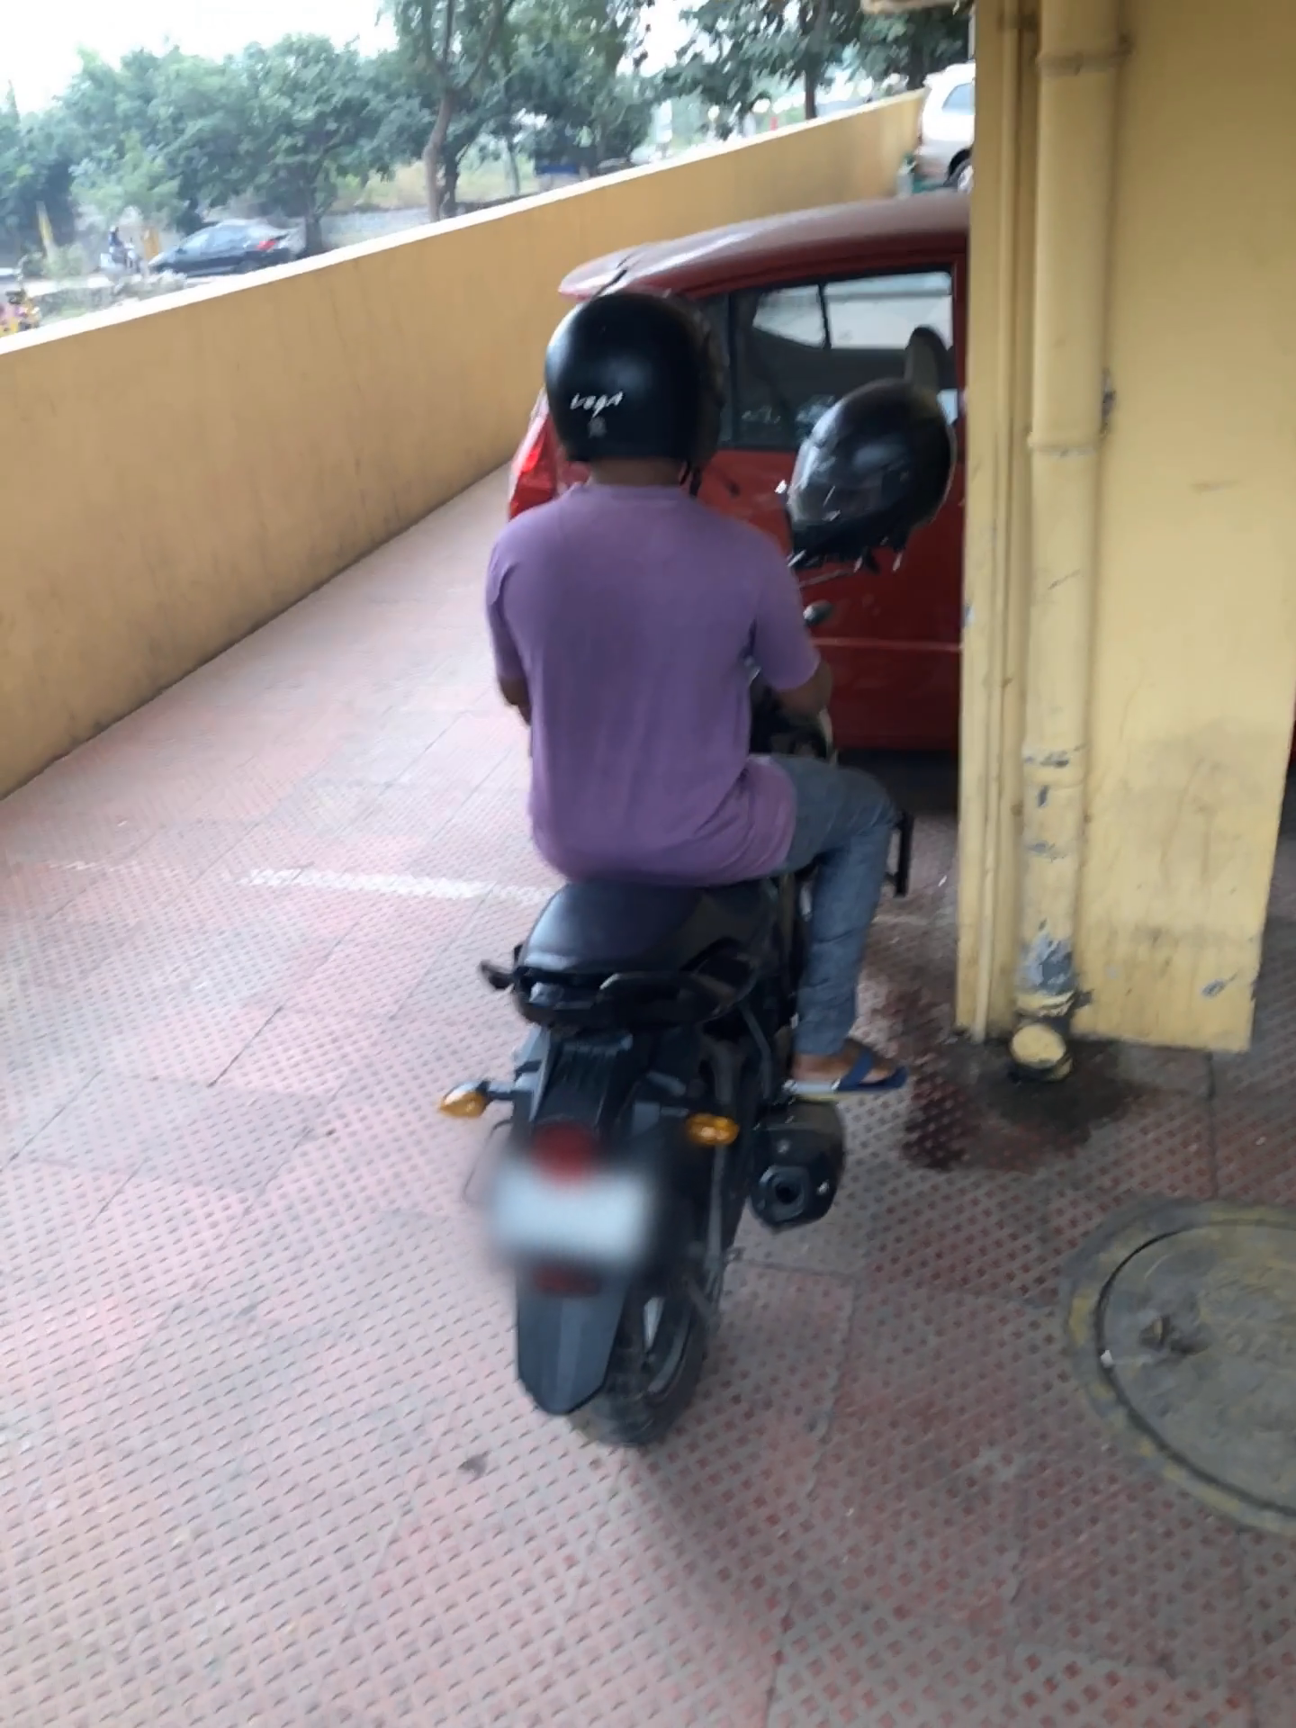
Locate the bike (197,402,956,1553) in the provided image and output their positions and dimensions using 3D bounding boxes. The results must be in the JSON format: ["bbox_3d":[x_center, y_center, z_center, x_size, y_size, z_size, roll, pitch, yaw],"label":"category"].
[{"bbox_3d":[0.058,-0.023,2.637,0.852,1.155,1.917,-1,30,9],"label":"bike"}]
